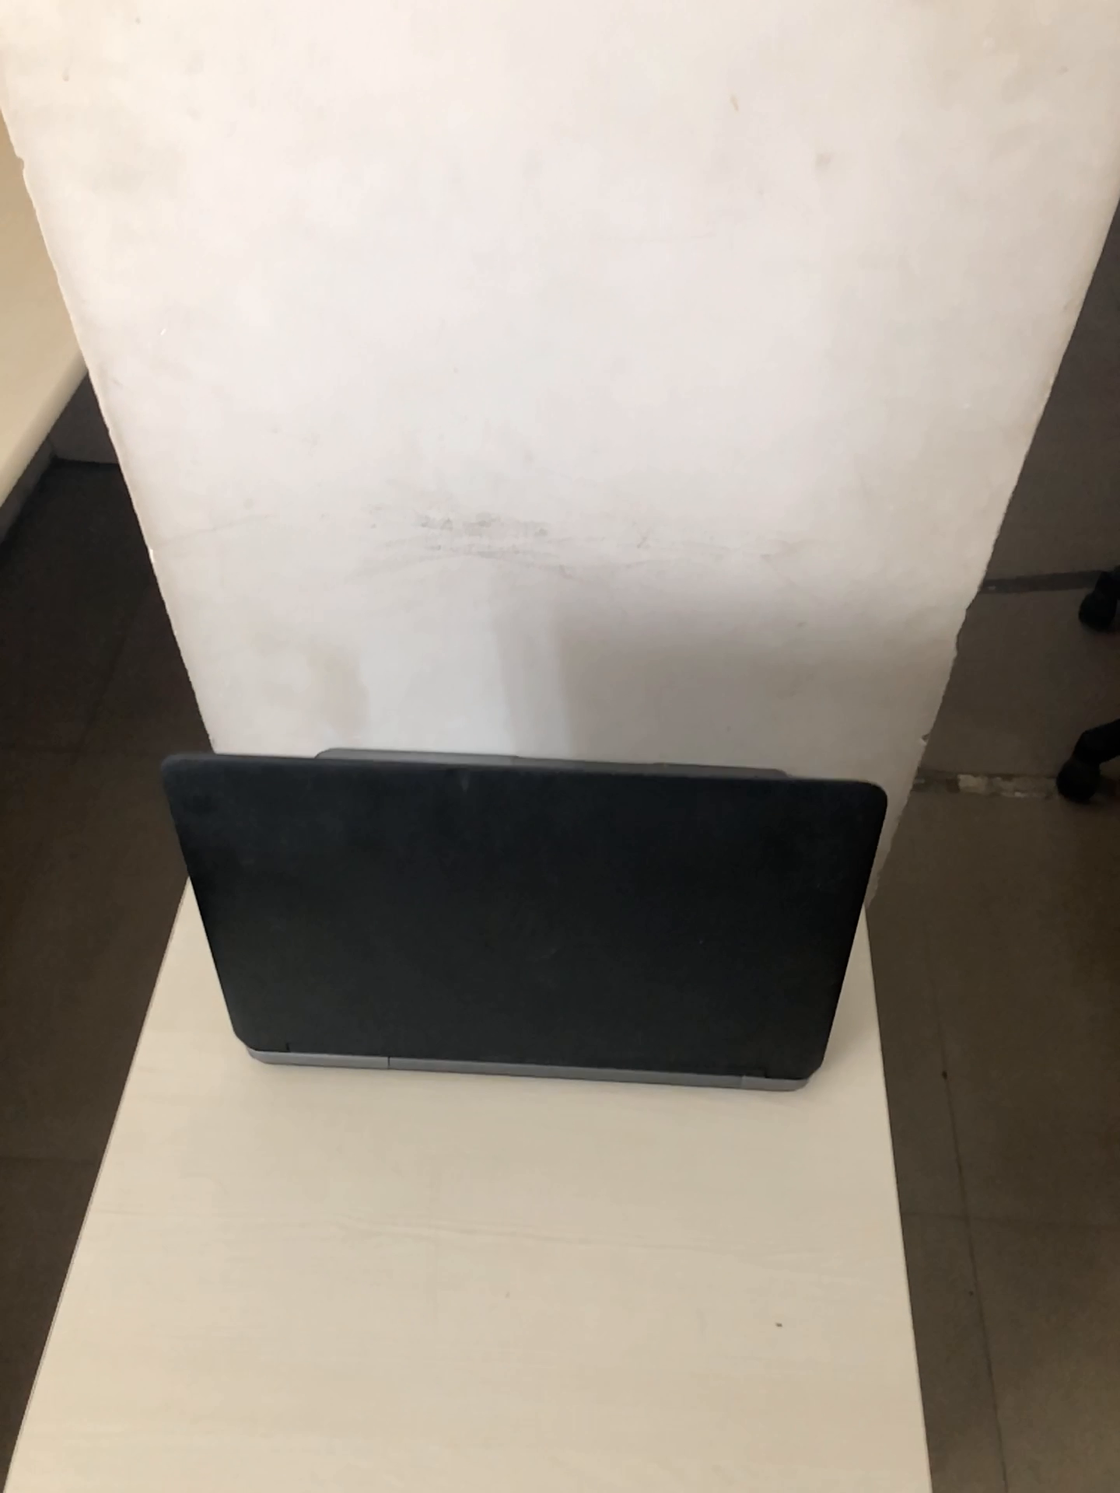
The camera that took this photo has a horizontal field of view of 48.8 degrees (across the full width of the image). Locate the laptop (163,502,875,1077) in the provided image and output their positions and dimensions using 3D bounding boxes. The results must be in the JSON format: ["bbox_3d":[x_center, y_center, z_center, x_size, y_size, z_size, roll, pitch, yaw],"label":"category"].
[{"bbox_3d":[-0.012,0.029,0.695,0.317,0.226,0.205,3,52,2],"label":"laptop"}]
